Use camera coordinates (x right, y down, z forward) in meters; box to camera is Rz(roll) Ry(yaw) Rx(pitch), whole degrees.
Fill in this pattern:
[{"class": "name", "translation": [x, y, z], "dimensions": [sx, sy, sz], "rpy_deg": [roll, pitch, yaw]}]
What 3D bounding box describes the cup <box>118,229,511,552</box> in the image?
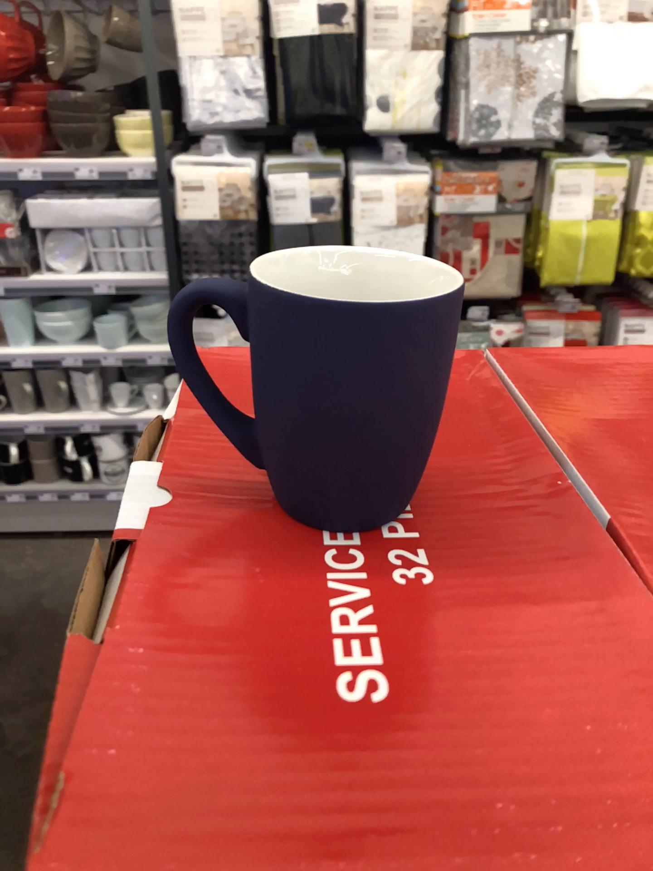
[{"class": "cup", "translation": [-0.003, -0.023, 0.279], "dimensions": [0.121, 0.088, 0.091], "rpy_deg": [5, 24, 3]}]
